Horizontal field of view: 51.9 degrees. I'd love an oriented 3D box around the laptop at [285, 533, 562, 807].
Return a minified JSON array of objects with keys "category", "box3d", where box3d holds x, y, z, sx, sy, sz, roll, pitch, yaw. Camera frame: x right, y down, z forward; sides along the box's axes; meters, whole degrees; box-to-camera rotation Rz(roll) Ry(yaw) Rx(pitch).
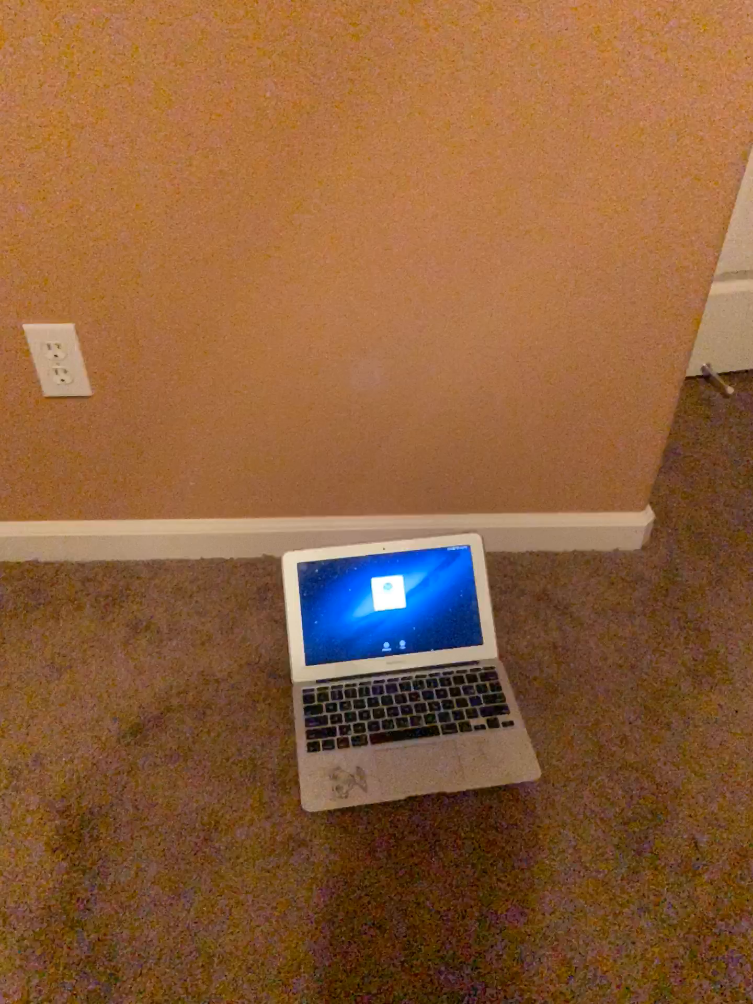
[{"category":"laptop","box3d":[0.041,0.204,1.031,0.298,0.116,0.326,-5,38,-8]}]
